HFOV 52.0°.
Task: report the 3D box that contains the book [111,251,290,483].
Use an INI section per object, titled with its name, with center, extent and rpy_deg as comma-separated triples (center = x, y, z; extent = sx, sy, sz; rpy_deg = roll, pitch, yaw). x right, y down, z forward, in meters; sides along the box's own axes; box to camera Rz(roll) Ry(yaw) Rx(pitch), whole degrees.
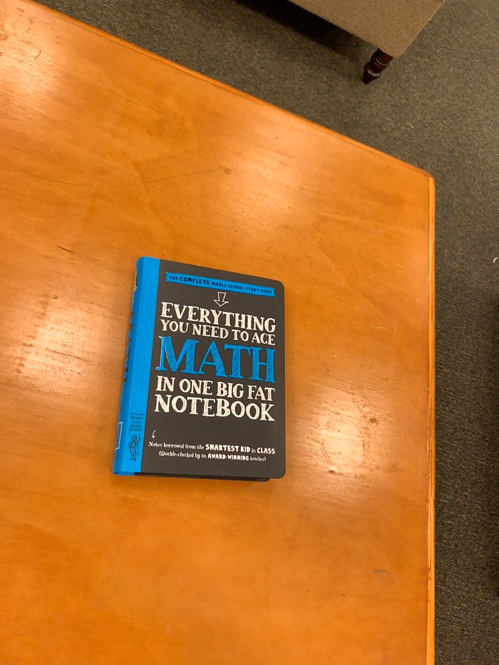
[book]
center = -0.043, 0.039, 0.503
extent = 0.157, 0.050, 0.208
rpy_deg = 7, 72, -22
